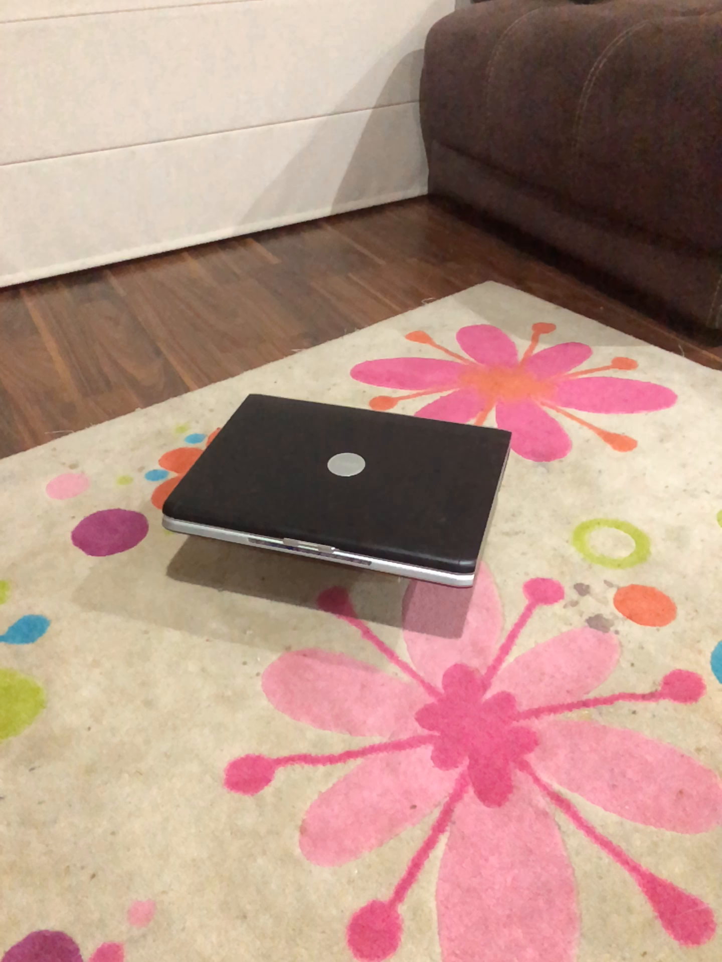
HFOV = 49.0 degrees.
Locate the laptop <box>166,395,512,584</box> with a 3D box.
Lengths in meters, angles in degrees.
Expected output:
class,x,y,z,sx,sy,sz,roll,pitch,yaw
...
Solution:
class,x,y,z,sx,sy,sz,roll,pitch,yaw
laptop,-0.020,-0.006,0.927,0.353,0.015,0.233,9,43,18
